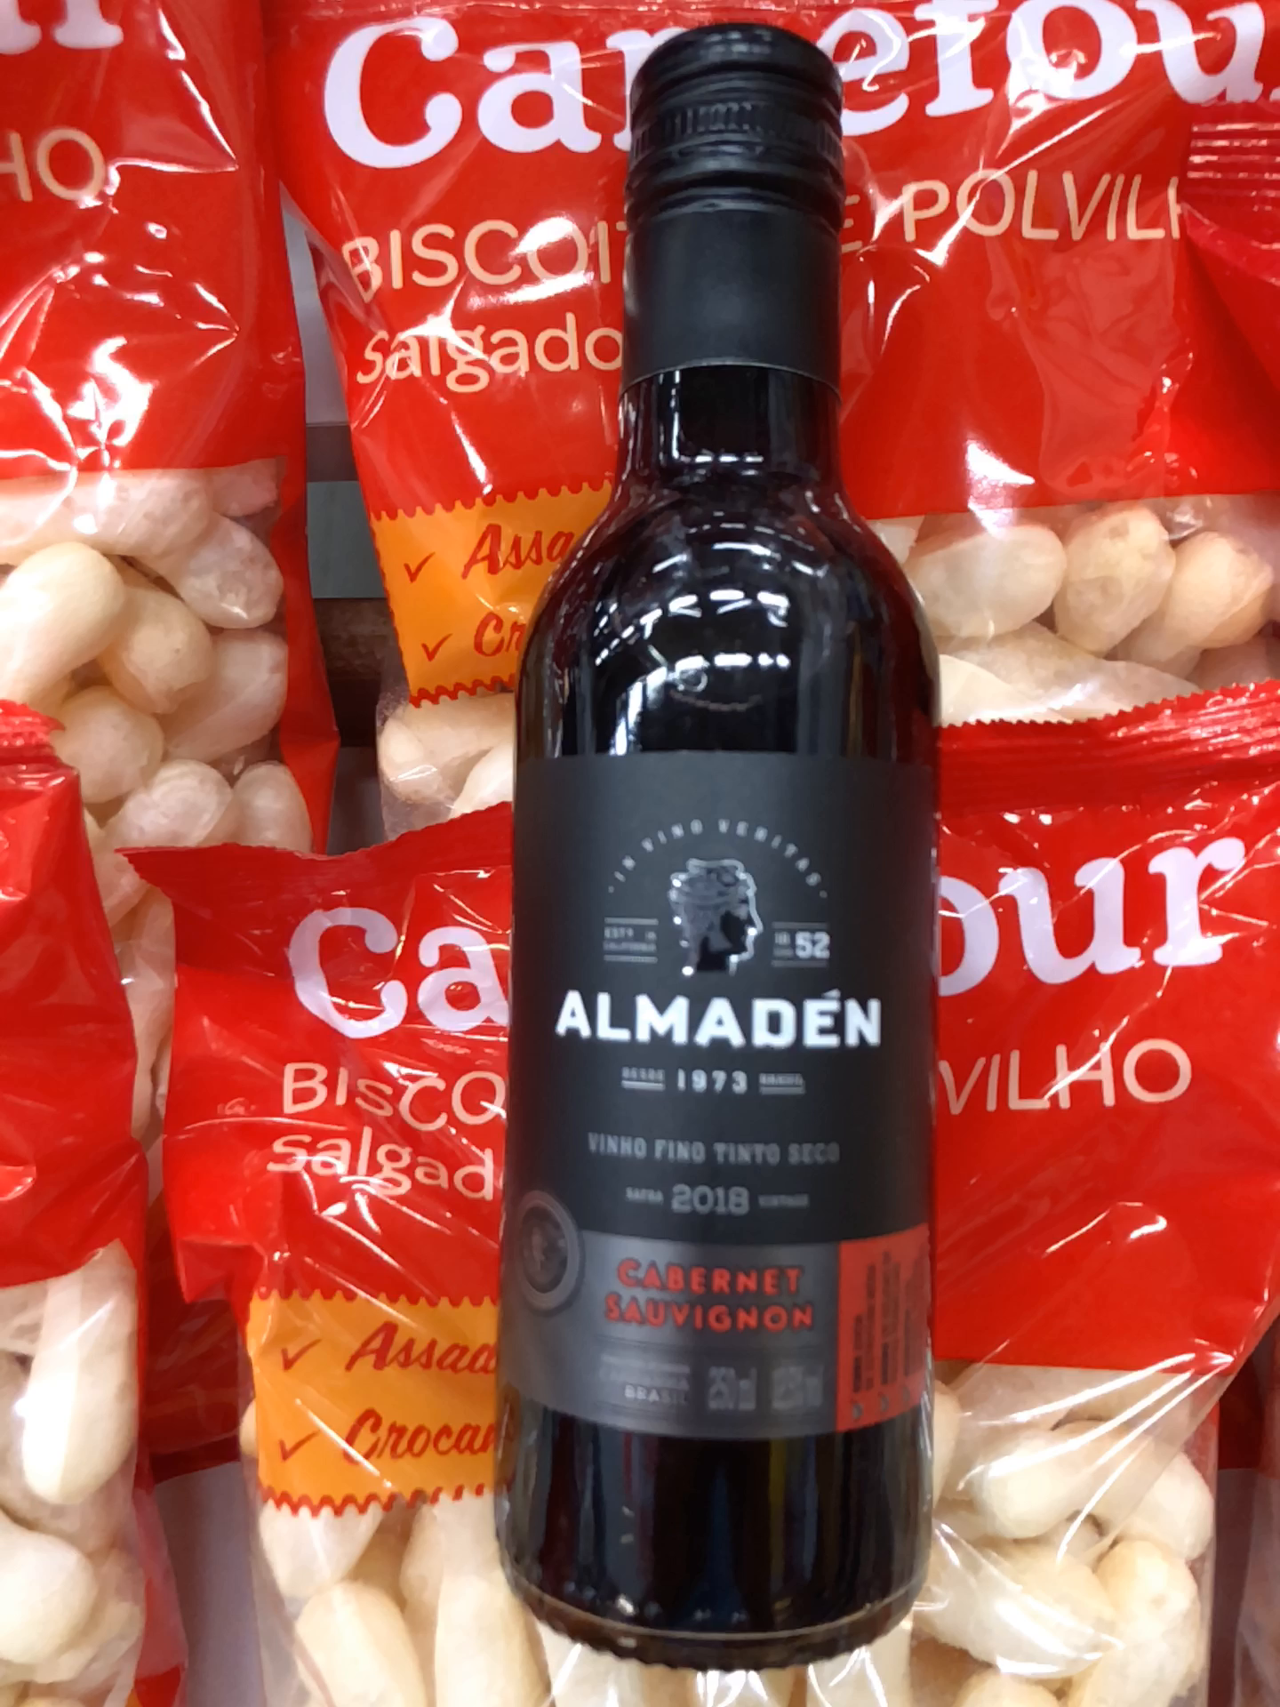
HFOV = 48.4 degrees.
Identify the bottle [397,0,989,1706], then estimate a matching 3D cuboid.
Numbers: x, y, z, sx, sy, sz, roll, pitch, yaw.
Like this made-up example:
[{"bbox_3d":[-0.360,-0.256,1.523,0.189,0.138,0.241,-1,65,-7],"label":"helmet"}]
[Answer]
[{"bbox_3d":[0.010,-0.019,0.191,0.060,0.060,0.240,2,83,2],"label":"bottle"}]
